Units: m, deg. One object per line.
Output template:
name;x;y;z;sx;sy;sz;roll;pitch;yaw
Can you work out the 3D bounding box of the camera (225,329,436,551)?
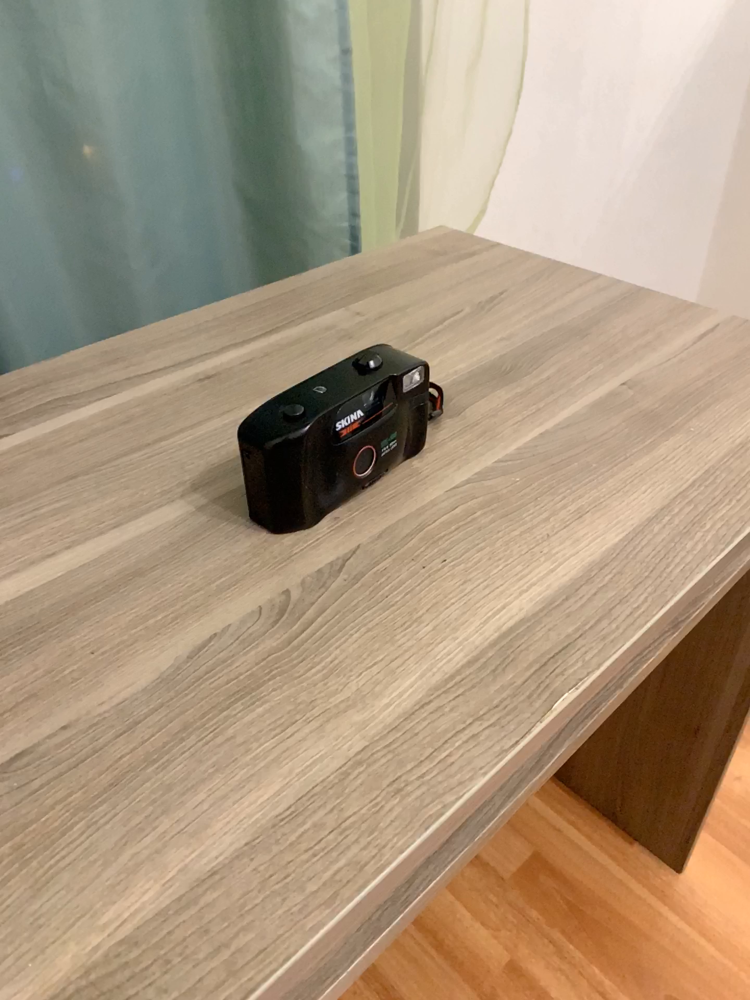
camera;-0.020;-0.038;0.431;0.045;0.069;0.121;24;42;31
